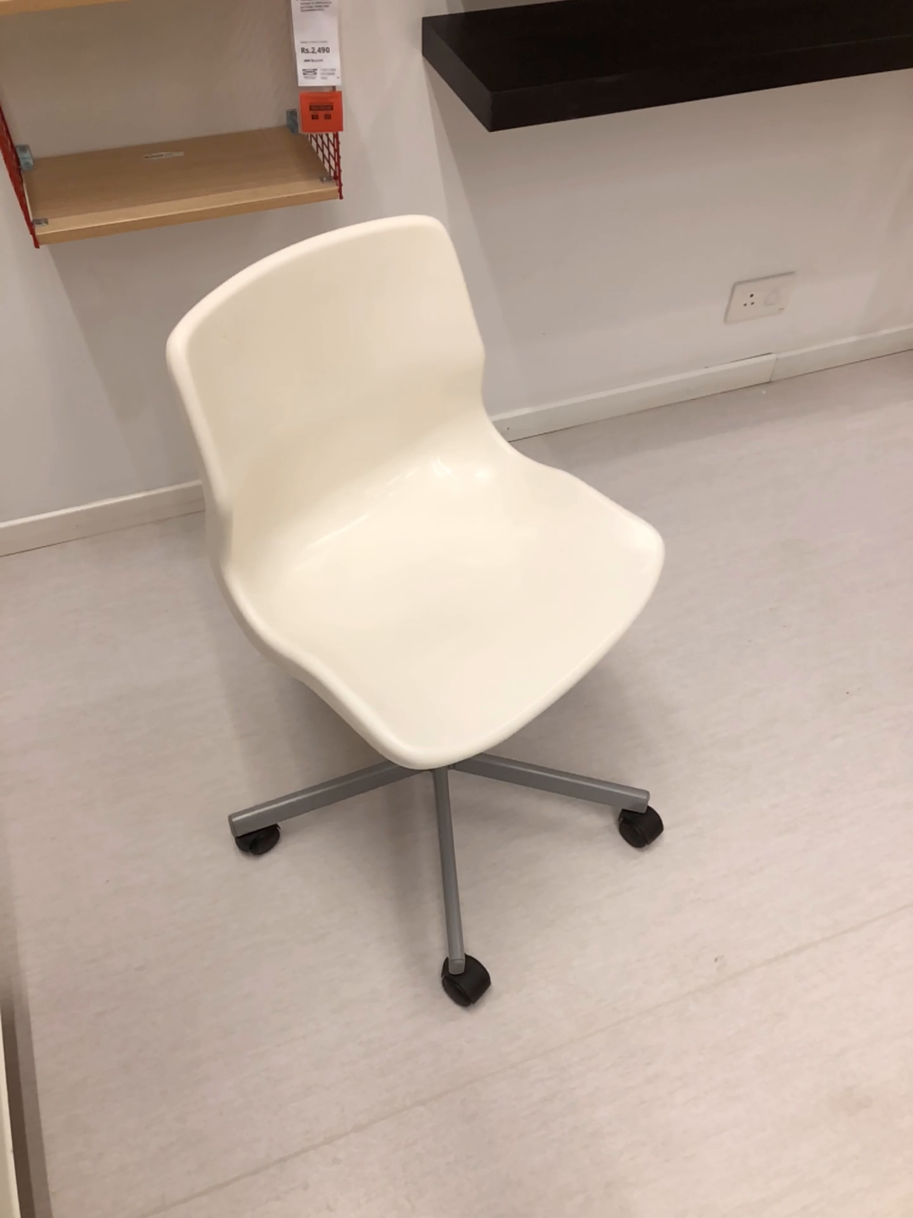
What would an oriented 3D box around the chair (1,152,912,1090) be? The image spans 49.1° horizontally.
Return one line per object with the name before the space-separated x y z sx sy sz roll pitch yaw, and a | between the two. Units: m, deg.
chair | 0.009 0.002 1.188 0.622 0.686 0.622 38 58 26
